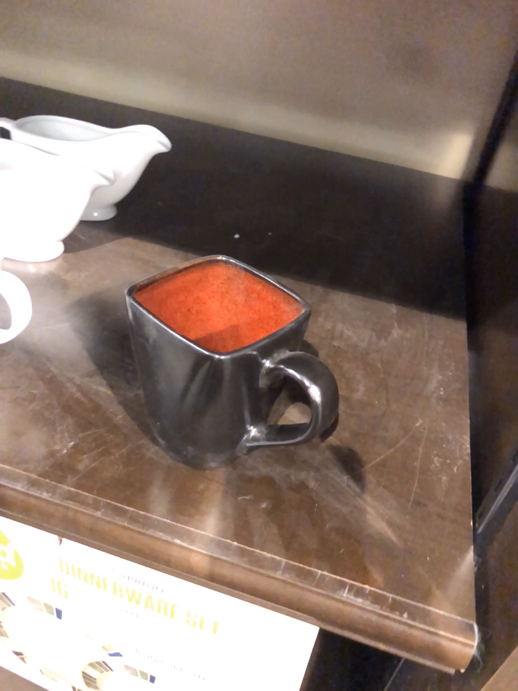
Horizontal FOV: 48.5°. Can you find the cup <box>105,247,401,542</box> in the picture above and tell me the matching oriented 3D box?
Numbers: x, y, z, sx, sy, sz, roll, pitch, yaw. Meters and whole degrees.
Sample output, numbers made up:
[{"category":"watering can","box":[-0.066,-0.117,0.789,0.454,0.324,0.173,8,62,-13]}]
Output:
[{"category":"cup","box":[-0.009,0.018,0.321,0.123,0.083,0.095,33,41,30]}]
